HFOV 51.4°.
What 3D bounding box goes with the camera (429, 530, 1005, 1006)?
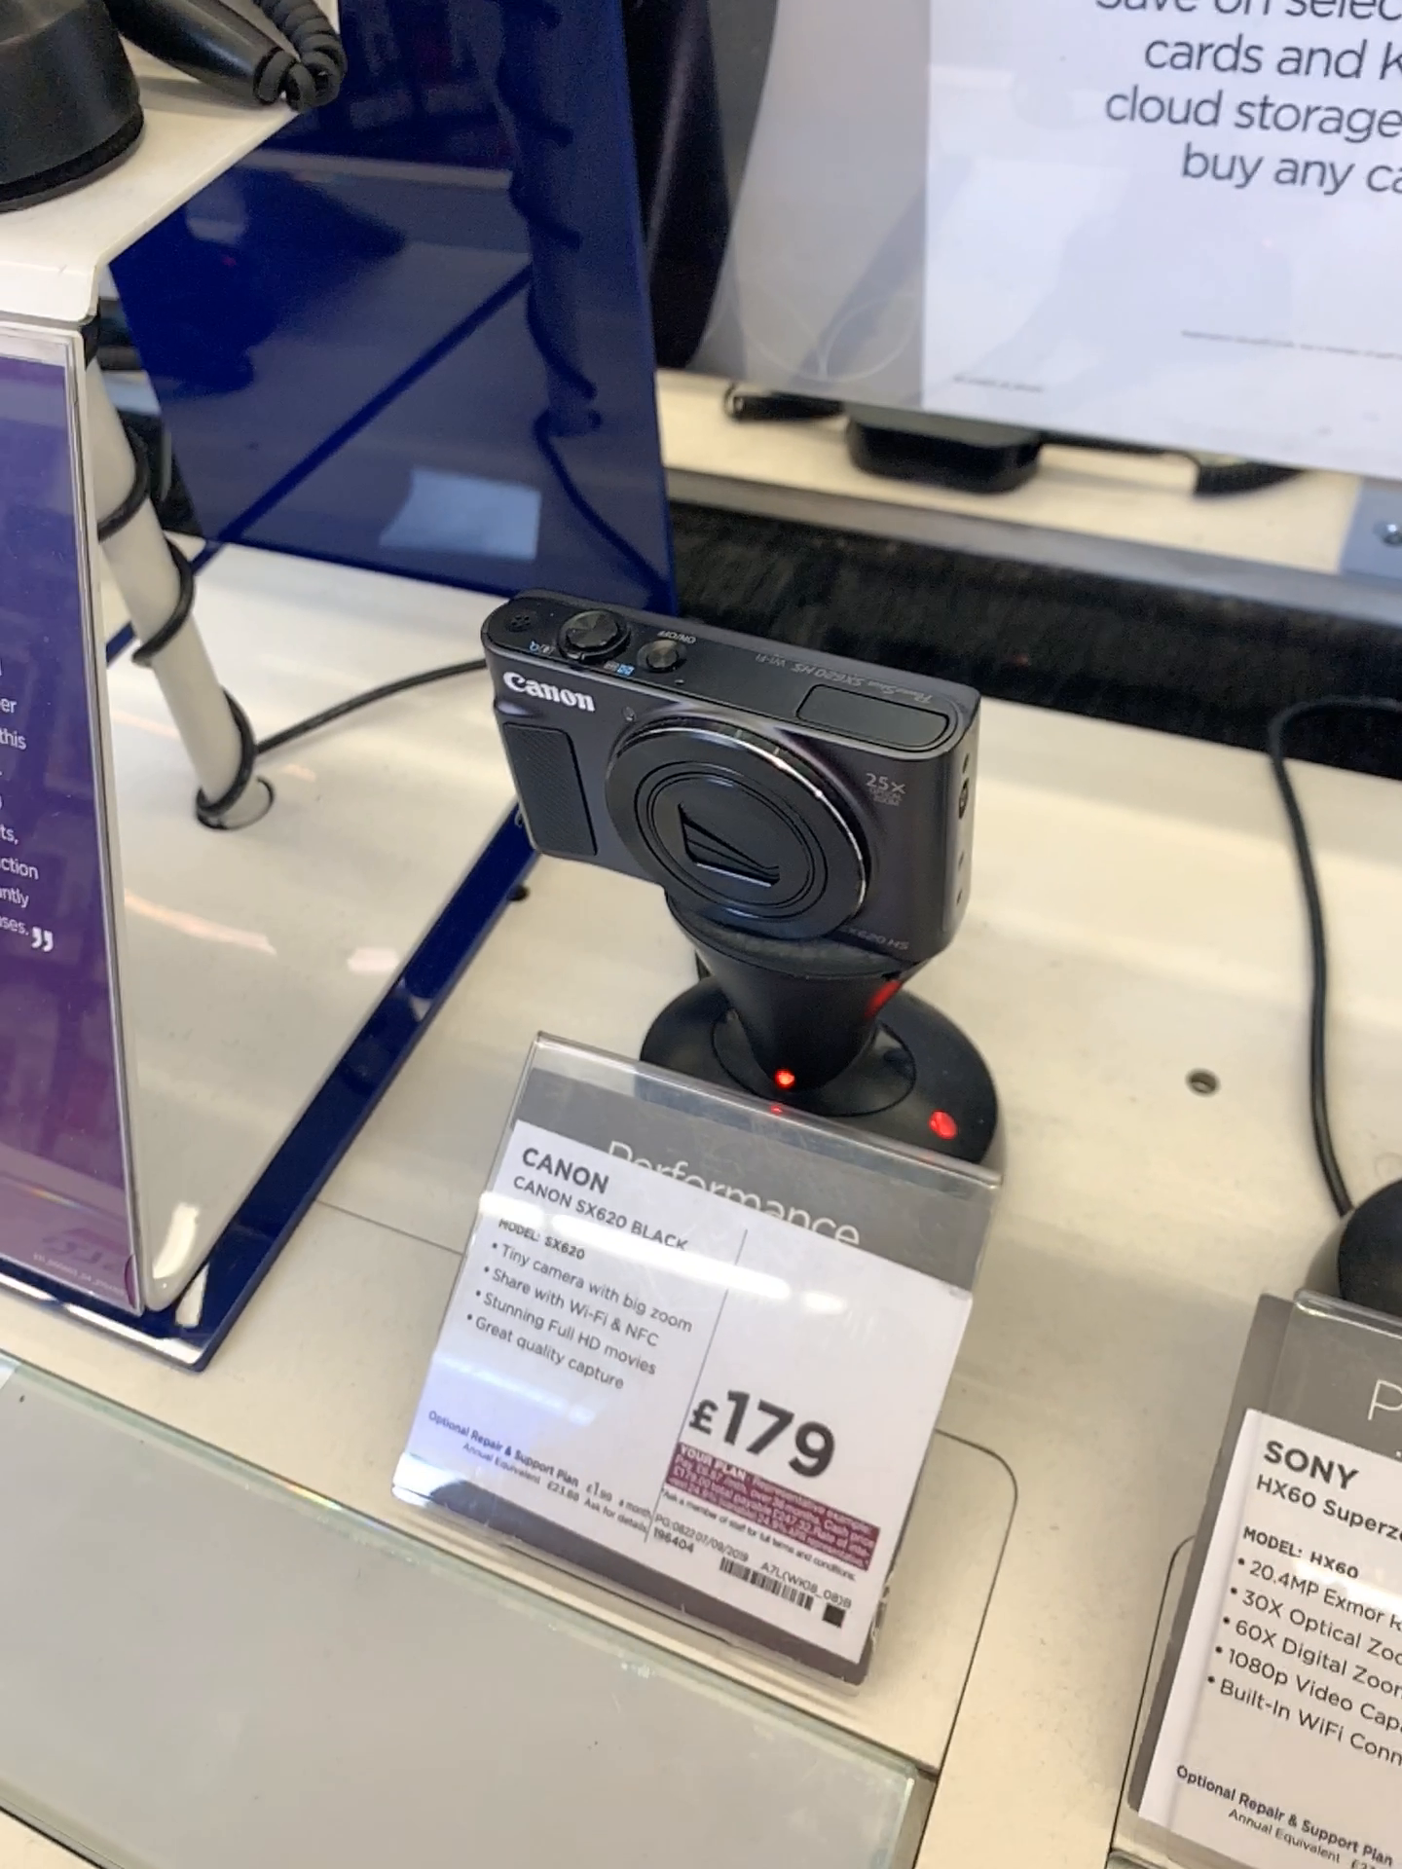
[{"bbox_3d":[0.004,-0.030,0.260,0.090,0.059,0.030,17,53,20],"label":"camera"}]
